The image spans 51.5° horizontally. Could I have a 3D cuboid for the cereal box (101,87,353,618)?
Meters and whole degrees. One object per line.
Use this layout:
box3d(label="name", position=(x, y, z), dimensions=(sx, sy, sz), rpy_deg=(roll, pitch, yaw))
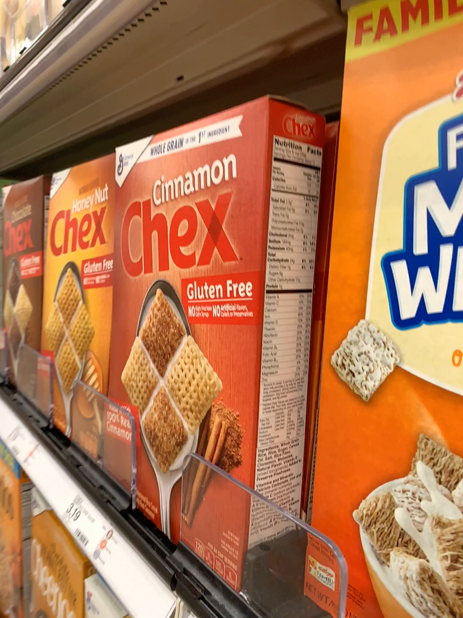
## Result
box3d(label="cereal box", position=(-0.023, 0.024, 0.354), dimensions=(0.060, 0.300, 0.200), rpy_deg=(-1, 7, -38))

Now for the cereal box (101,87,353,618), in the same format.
box3d(label="cereal box", position=(-0.023, 0.024, 0.354), dimensions=(0.060, 0.300, 0.200), rpy_deg=(-1, 7, -38))
